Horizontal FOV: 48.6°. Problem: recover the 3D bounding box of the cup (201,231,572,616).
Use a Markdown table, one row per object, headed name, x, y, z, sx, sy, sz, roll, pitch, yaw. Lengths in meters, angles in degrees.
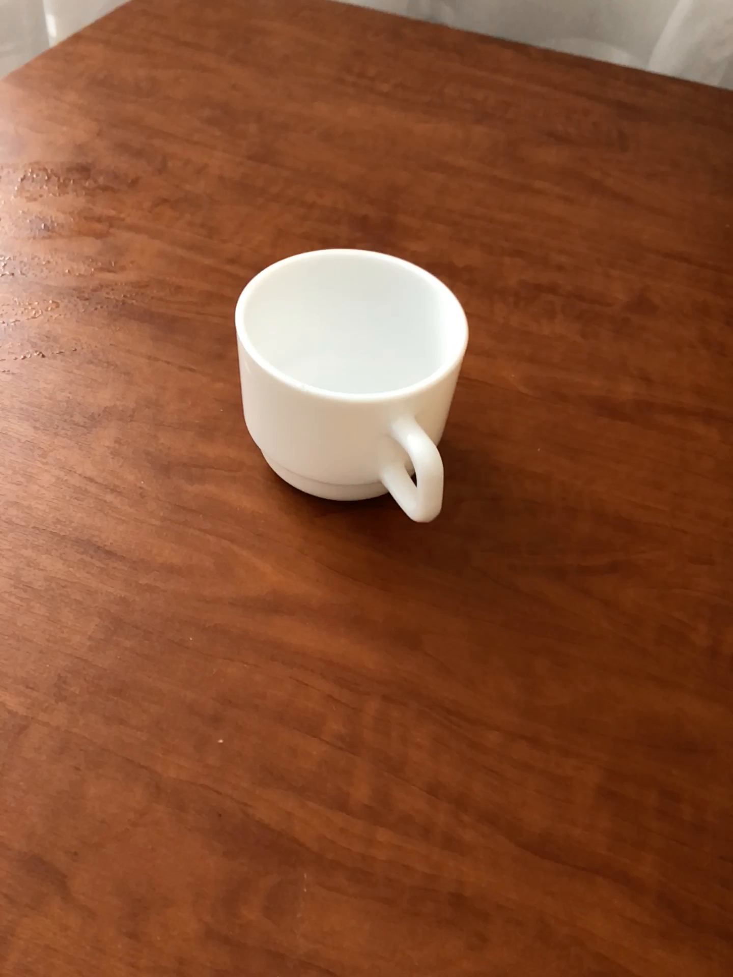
| name | x | y | z | sx | sy | sz | roll | pitch | yaw |
| --- | --- | --- | --- | --- | --- | --- | --- | --- | --- |
| cup | 0.000 | -0.030 | 0.306 | 0.087 | 0.060 | 0.120 | -17 | 54 | -20 |
